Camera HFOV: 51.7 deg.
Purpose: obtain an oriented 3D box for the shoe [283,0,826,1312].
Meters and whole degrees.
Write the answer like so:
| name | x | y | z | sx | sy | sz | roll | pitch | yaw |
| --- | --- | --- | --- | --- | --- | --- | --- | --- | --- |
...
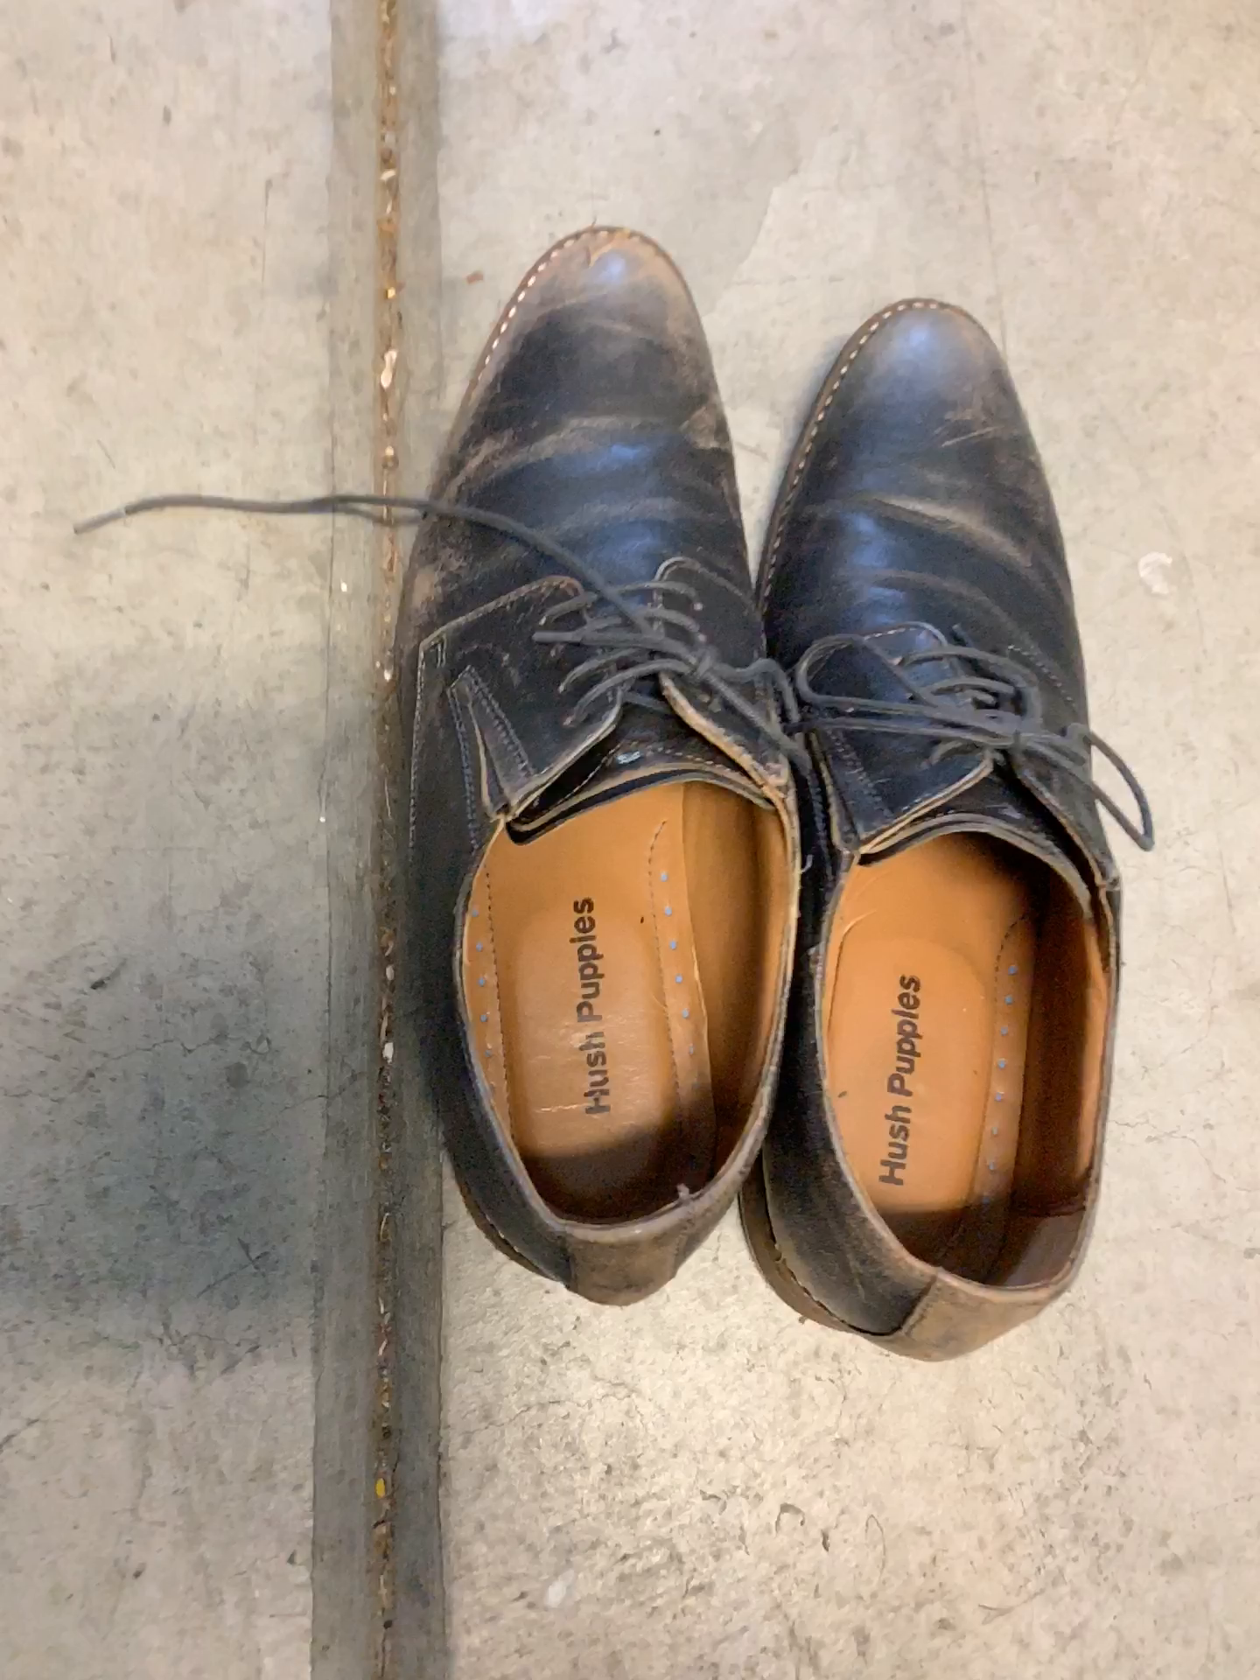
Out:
| name | x | y | z | sx | sy | sz | roll | pitch | yaw |
| --- | --- | --- | --- | --- | --- | --- | --- | --- | --- |
| shoe | -0.016 | -0.044 | 0.356 | 0.110 | 0.120 | 0.310 | 3 | 77 | -7 |

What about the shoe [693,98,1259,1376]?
| name | x | y | z | sx | sy | sz | roll | pitch | yaw |
| --- | --- | --- | --- | --- | --- | --- | --- | --- | --- |
| shoe | 0.090 | -0.026 | 0.364 | 0.110 | 0.120 | 0.304 | 5 | 77 | -6 |
